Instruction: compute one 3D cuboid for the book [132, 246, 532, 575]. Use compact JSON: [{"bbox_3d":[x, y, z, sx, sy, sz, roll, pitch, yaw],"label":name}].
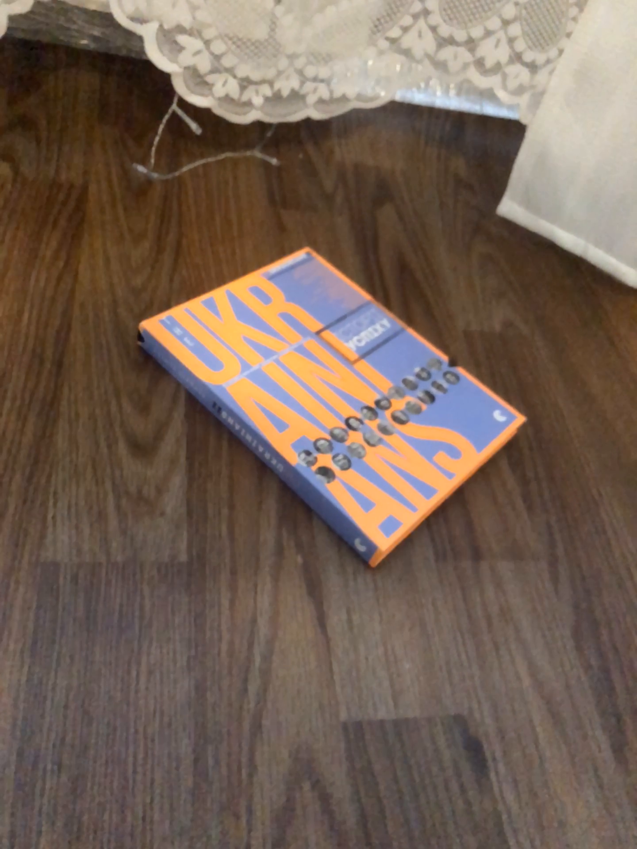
[{"bbox_3d":[0.013,-0.027,0.469,0.216,0.020,0.165,41,49,17],"label":"book"}]
